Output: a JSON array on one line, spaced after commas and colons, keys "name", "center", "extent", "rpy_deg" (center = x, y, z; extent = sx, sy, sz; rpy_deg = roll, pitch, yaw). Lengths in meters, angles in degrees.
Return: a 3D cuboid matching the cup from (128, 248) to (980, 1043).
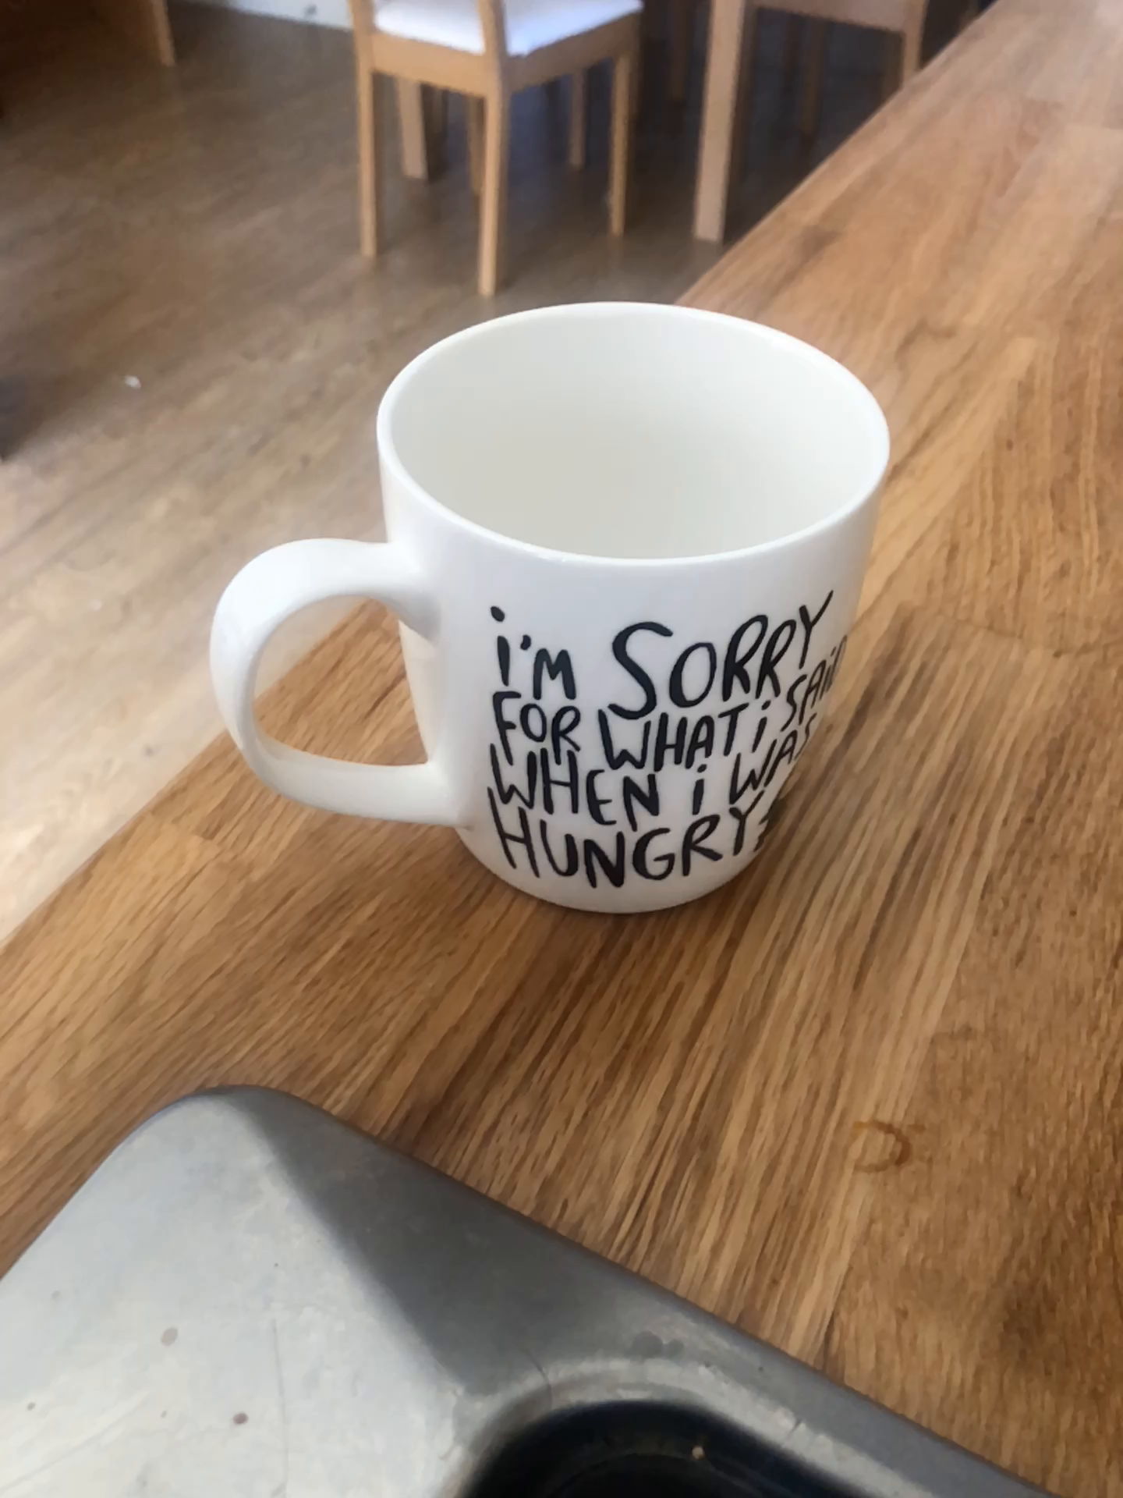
[{"name": "cup", "center": [-0.004, -0.026, 0.240], "extent": [0.114, 0.087, 0.090], "rpy_deg": [-21, 47, -21]}]
